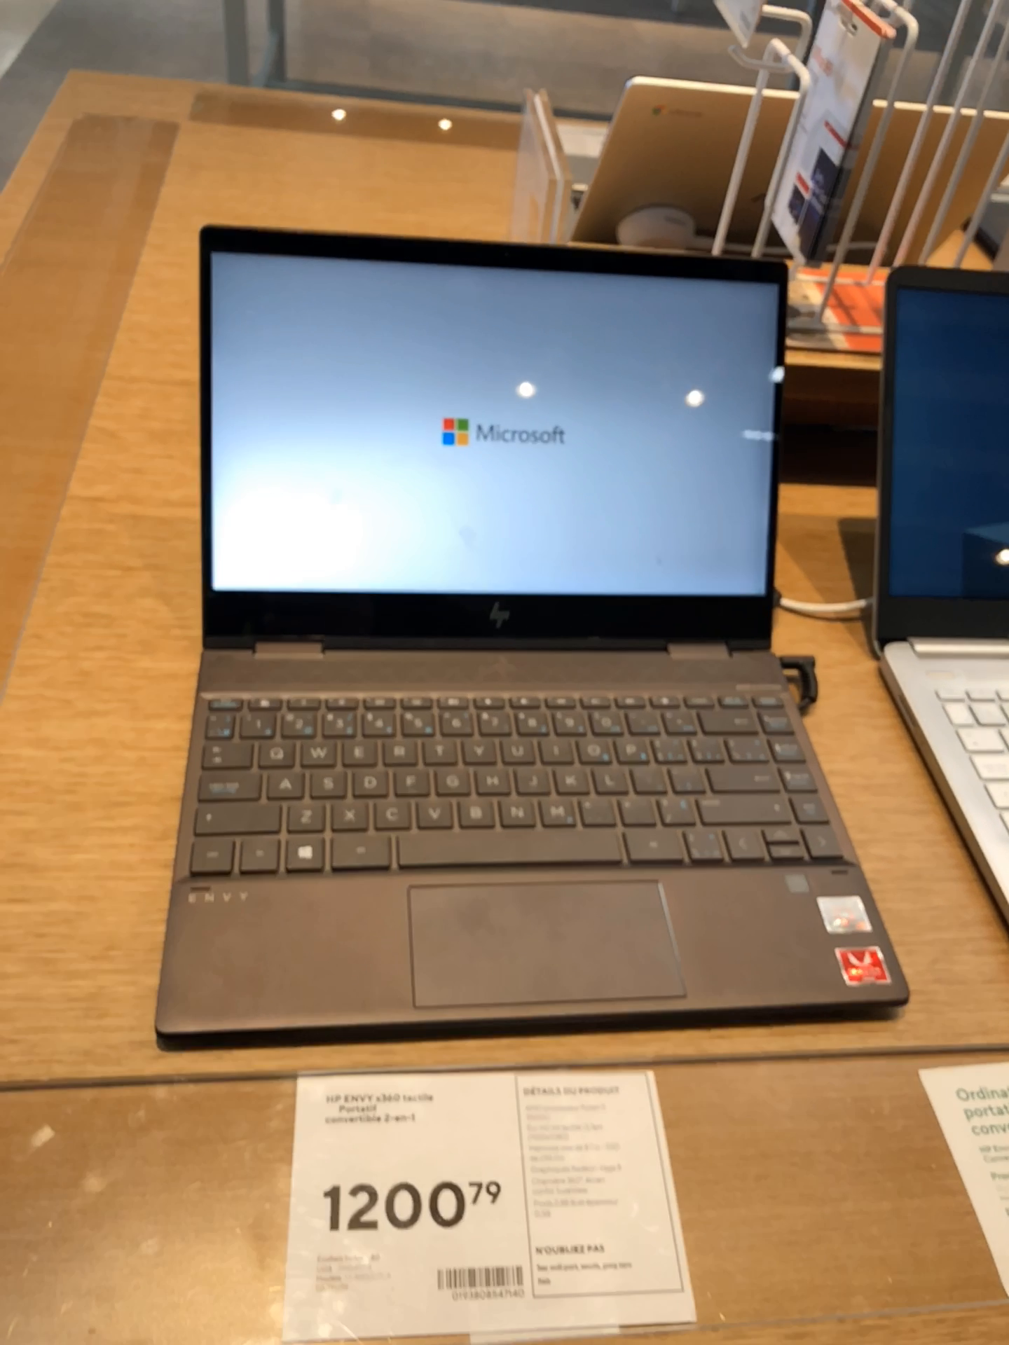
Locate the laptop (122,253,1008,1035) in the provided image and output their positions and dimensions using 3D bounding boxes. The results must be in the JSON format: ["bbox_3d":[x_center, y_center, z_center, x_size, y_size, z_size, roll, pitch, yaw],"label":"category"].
[{"bbox_3d":[0.013,-0.034,0.504,0.293,0.162,0.319,0,44,-9],"label":"laptop"}]
